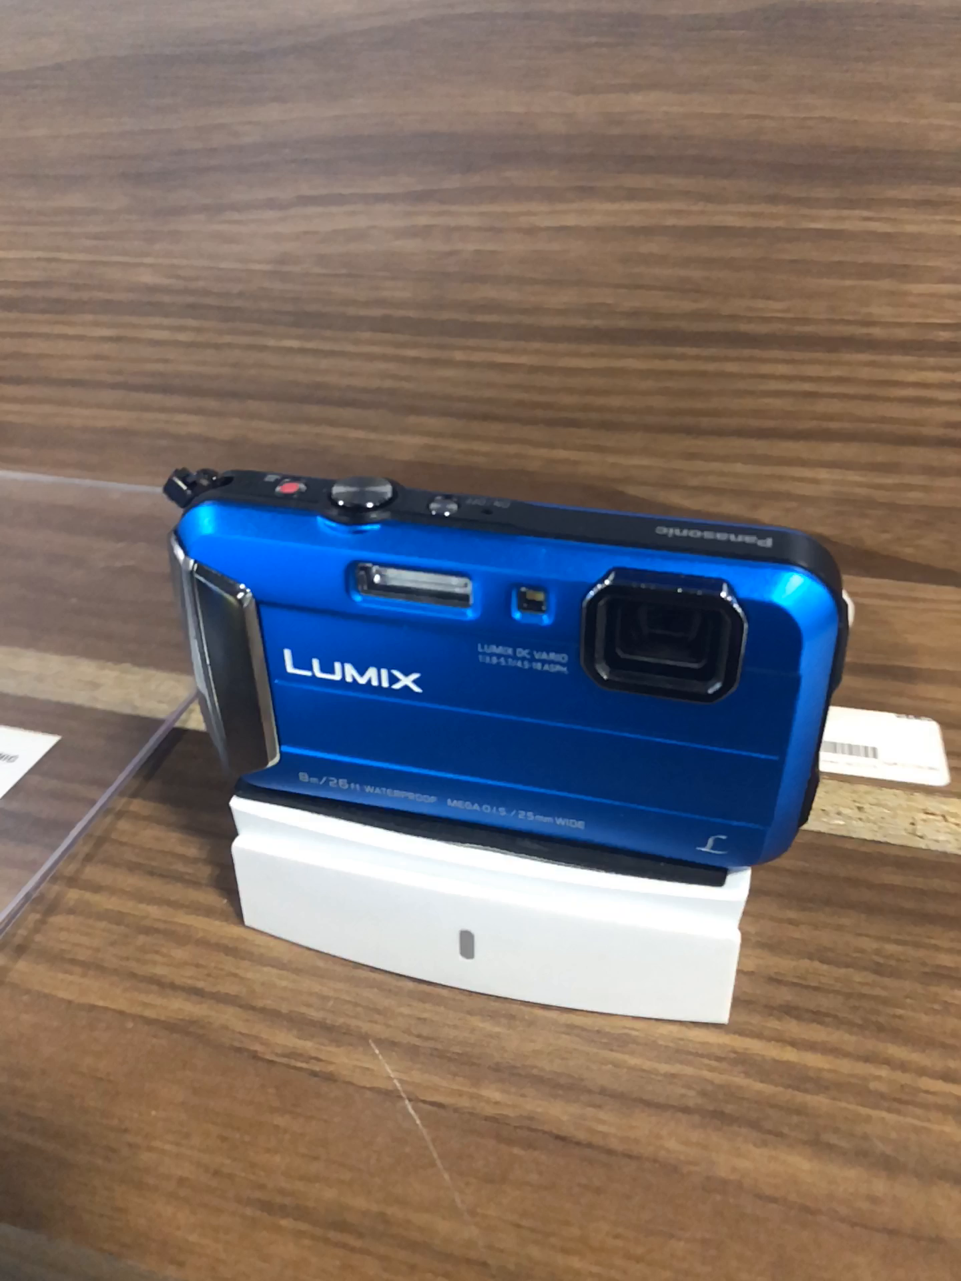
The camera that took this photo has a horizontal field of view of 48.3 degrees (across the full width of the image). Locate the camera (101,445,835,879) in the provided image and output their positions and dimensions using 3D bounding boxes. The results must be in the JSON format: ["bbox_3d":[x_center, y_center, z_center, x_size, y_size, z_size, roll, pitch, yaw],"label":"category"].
[{"bbox_3d":[-0.002,0.002,0.166,0.100,0.051,0.023,7,37,12],"label":"camera"}]
